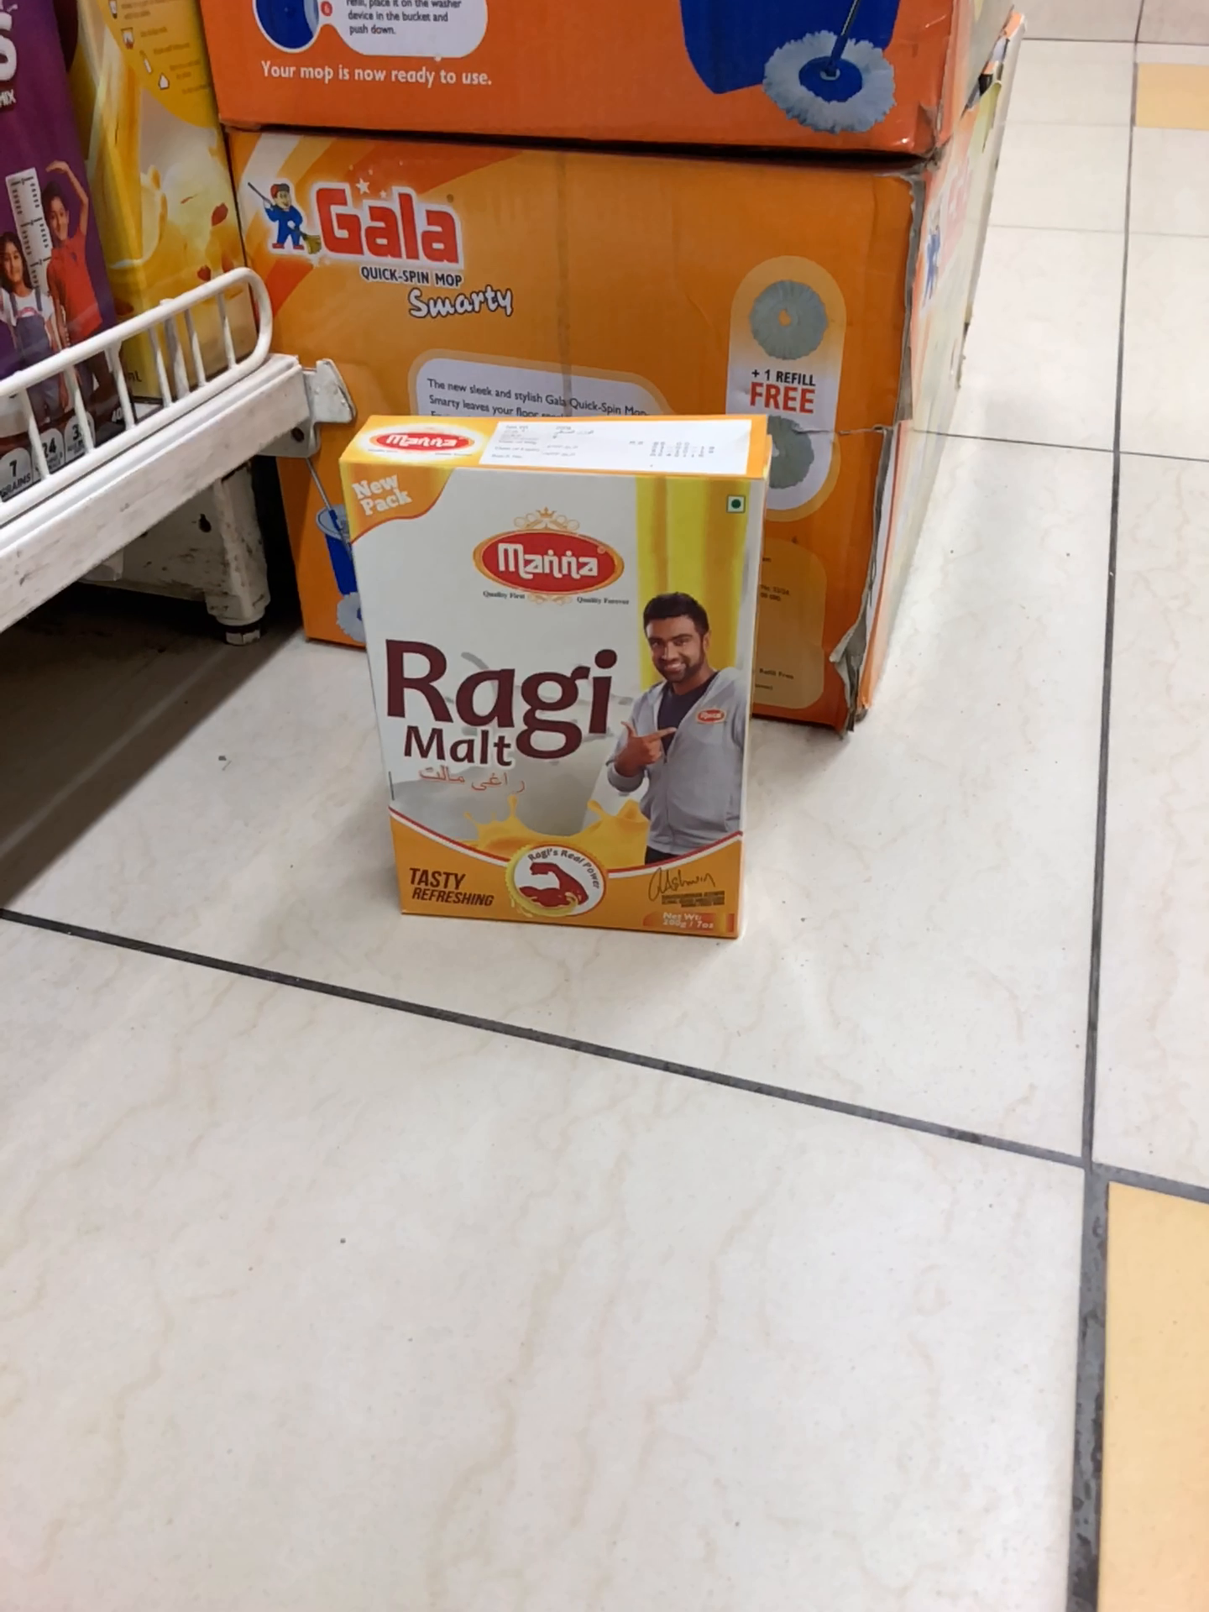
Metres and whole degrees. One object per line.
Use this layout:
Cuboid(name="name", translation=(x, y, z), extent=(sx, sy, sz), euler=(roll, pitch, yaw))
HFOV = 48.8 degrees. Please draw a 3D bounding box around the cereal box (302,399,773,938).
Cuboid(name="cereal box", translation=(-0.017, -0.043, 0.466), extent=(0.140, 0.179, 0.050), euler=(4, 36, 7))
